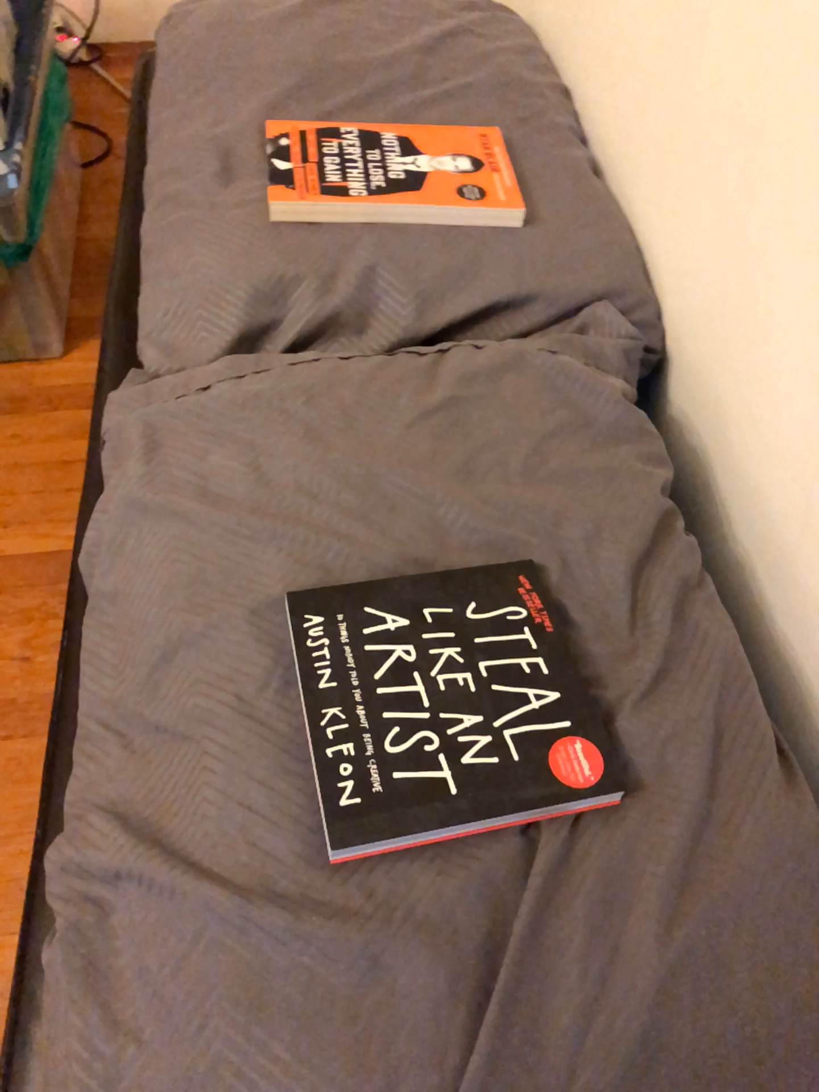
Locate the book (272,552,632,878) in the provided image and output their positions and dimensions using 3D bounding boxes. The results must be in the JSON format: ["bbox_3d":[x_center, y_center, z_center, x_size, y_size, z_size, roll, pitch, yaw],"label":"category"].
[{"bbox_3d":[0.016,0.082,0.493,0.160,0.020,0.161,-8,53,-11],"label":"book"}]
